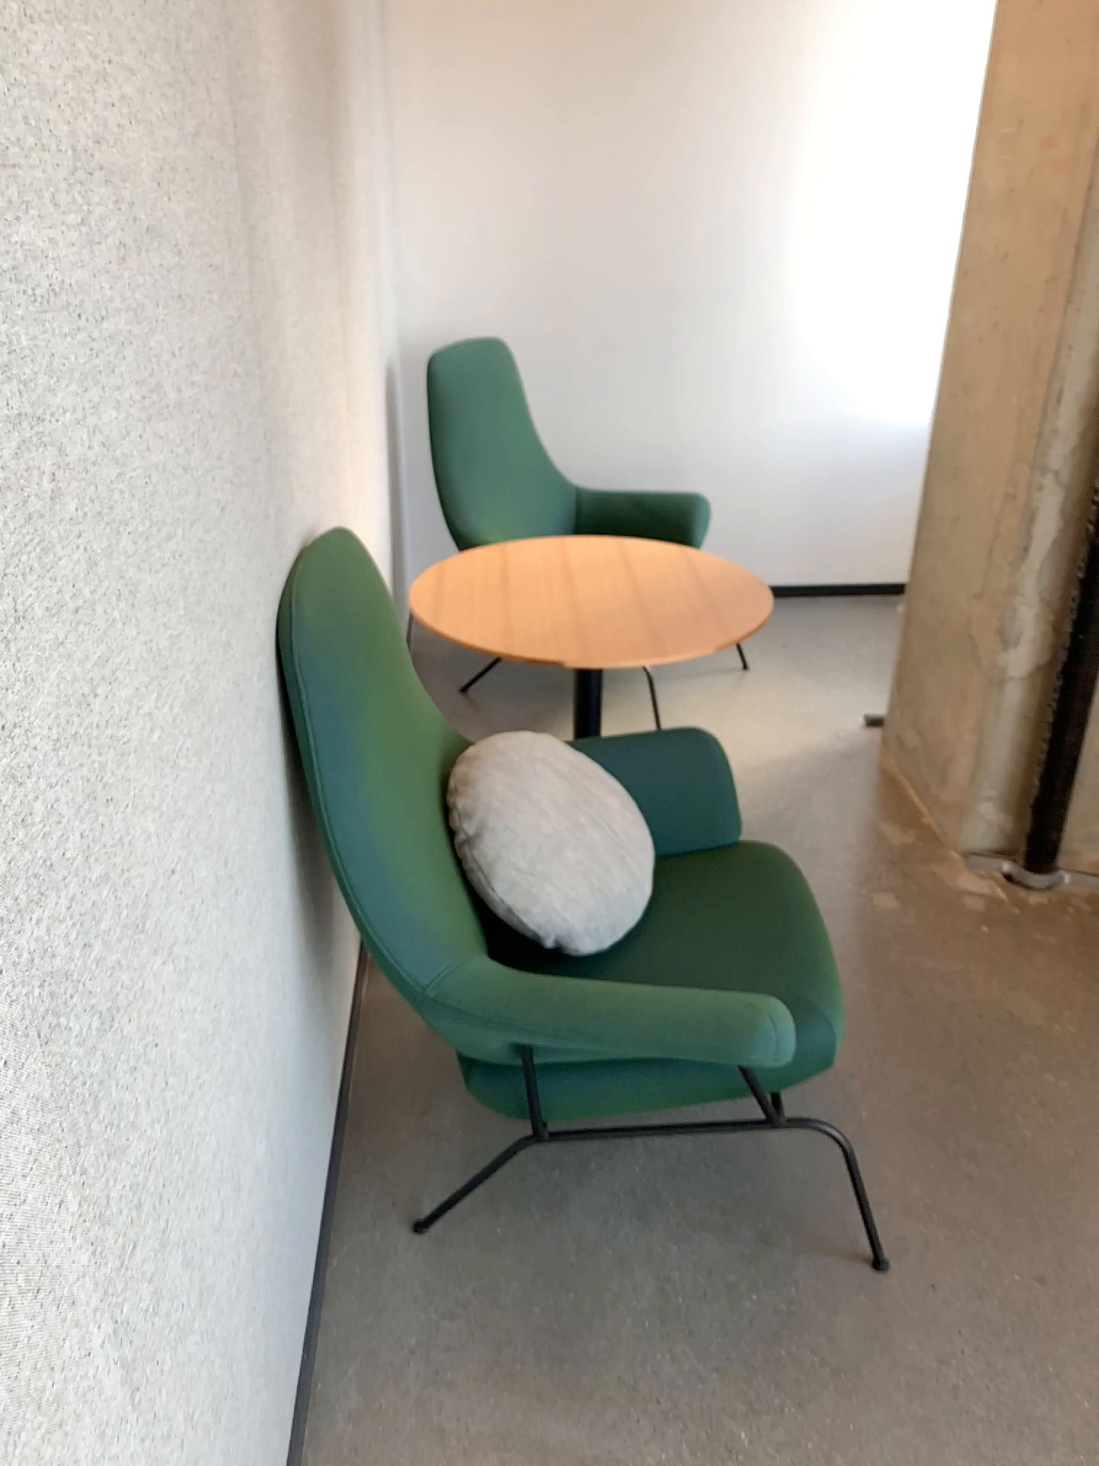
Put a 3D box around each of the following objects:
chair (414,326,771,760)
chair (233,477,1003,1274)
[{"bbox_3d":[0.138,-0.589,3.278,0.751,1.014,0.653,13,29,26],"label":"chair"},{"bbox_3d":[0.085,0.191,1.780,0.840,0.994,0.724,-1,27,1],"label":"chair"}]
